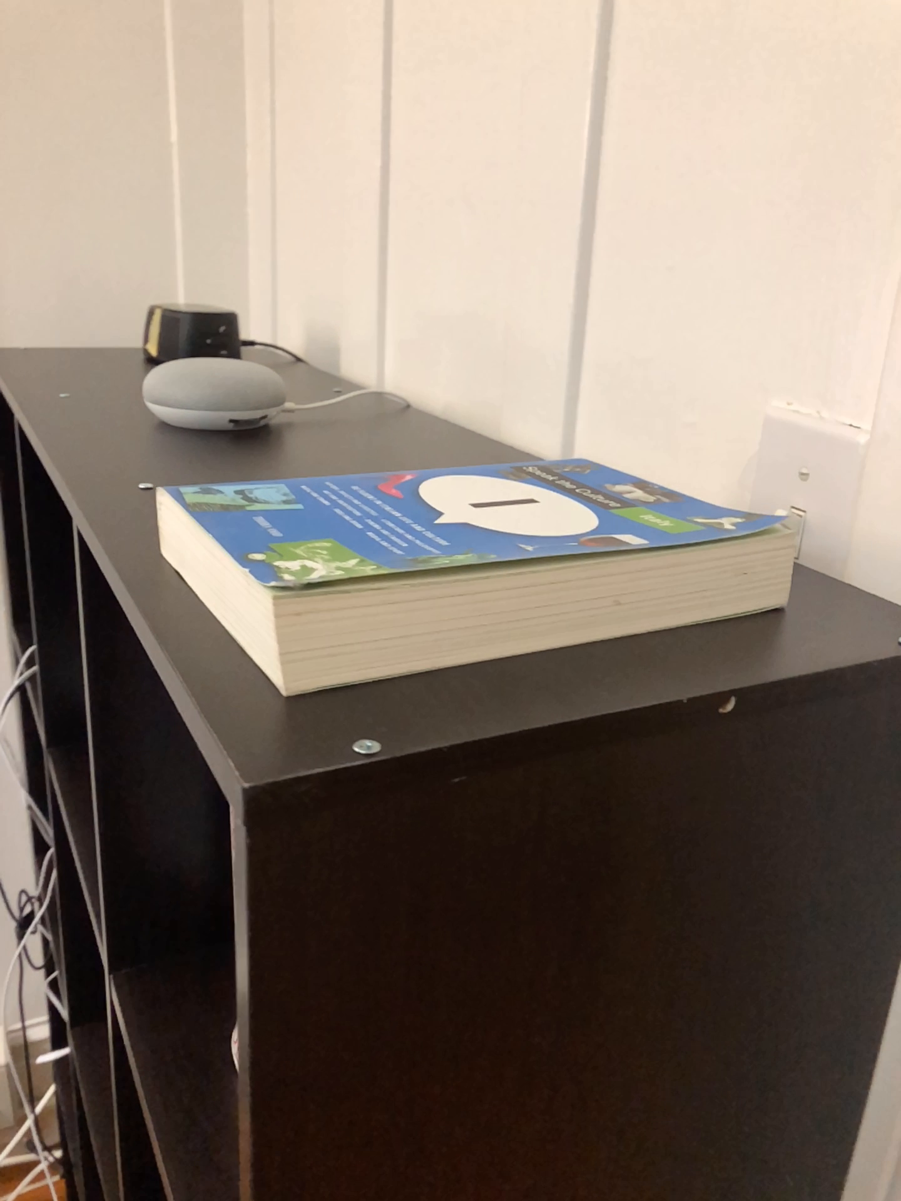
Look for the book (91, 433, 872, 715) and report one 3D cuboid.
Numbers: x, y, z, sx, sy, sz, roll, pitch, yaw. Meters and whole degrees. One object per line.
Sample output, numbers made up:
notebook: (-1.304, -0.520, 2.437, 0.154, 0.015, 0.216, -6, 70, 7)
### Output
book: (0.004, -0.031, 0.420, 0.260, 0.030, 0.201, -8, 23, -28)
